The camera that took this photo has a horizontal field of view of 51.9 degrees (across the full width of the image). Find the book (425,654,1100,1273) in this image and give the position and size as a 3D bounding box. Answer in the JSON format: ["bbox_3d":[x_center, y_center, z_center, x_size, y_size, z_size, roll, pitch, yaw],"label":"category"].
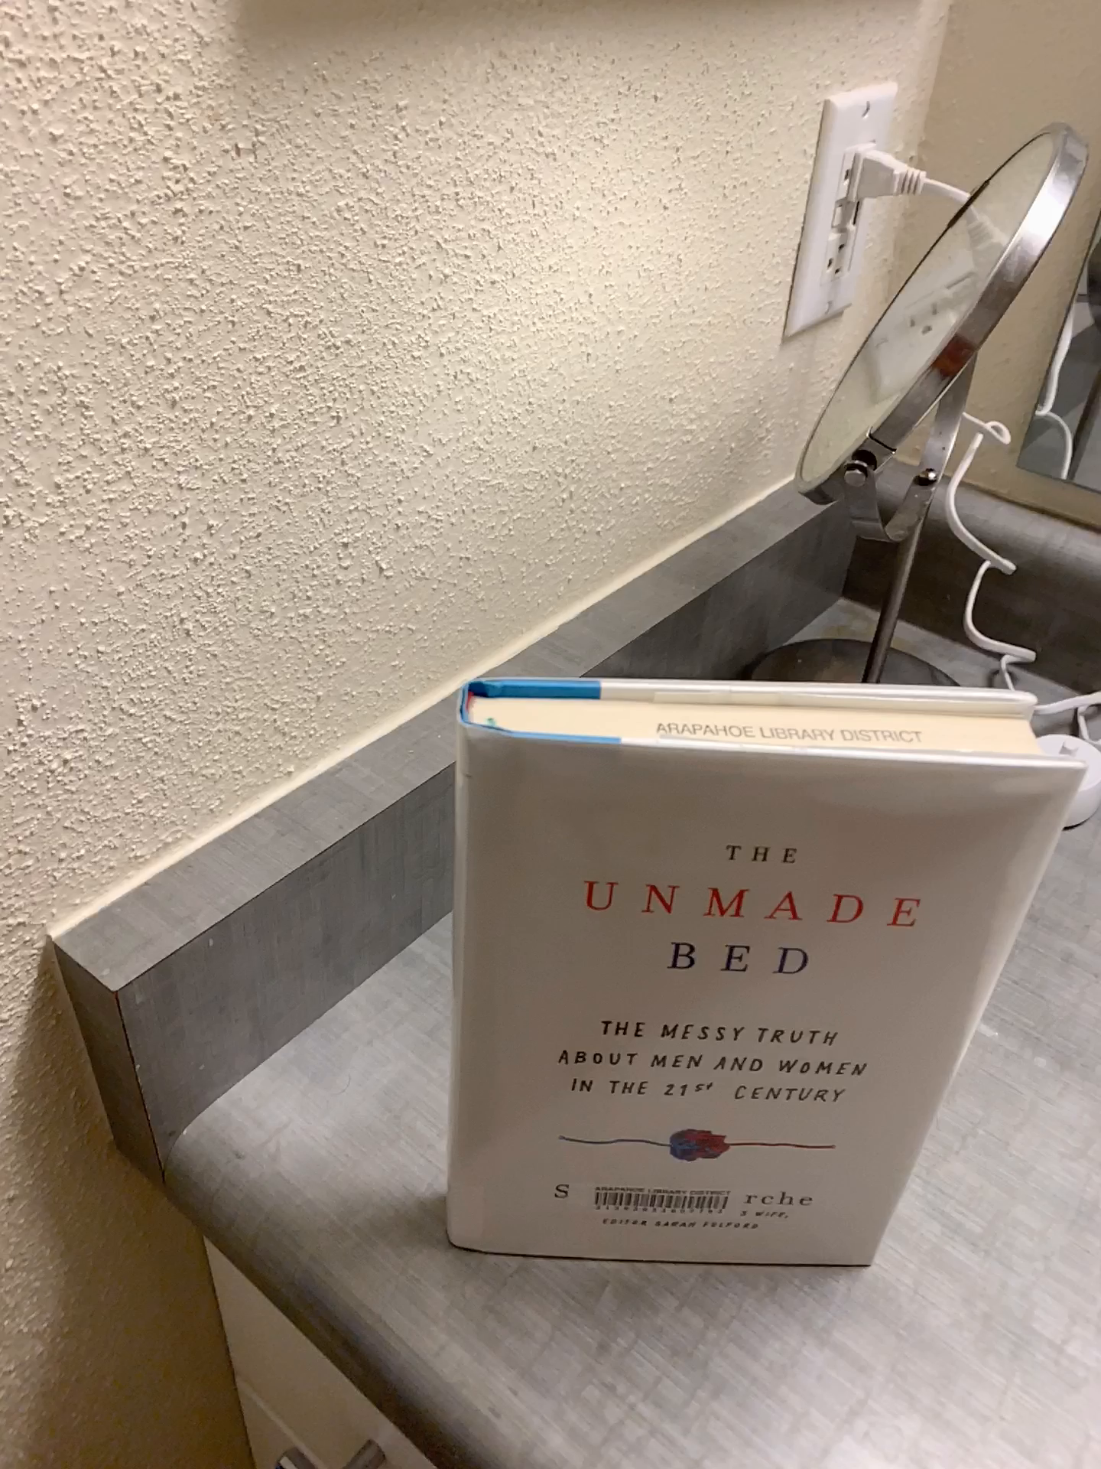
[{"bbox_3d":[0.042,0.080,0.328,0.152,0.214,0.033,3,36,-2],"label":"book"}]
